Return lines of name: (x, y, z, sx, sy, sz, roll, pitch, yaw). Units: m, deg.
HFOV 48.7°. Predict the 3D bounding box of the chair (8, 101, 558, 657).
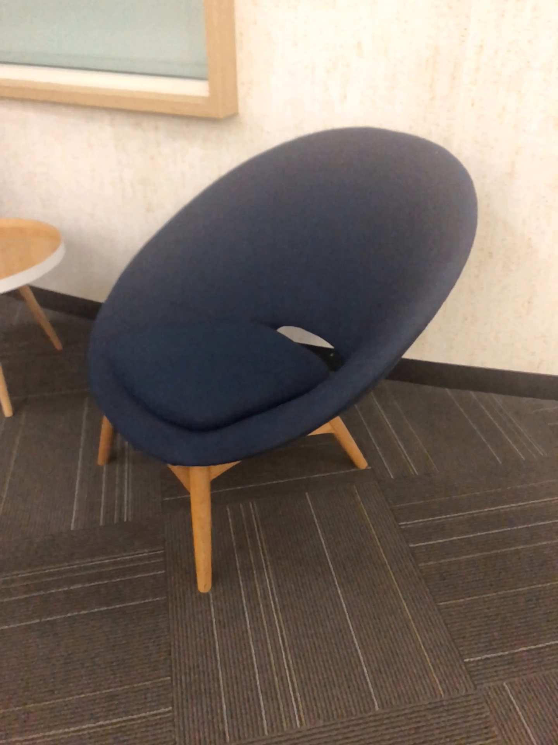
chair: (-0.034, -0.128, 1.662, 1.004, 0.992, 0.894, -14, 34, -30)
